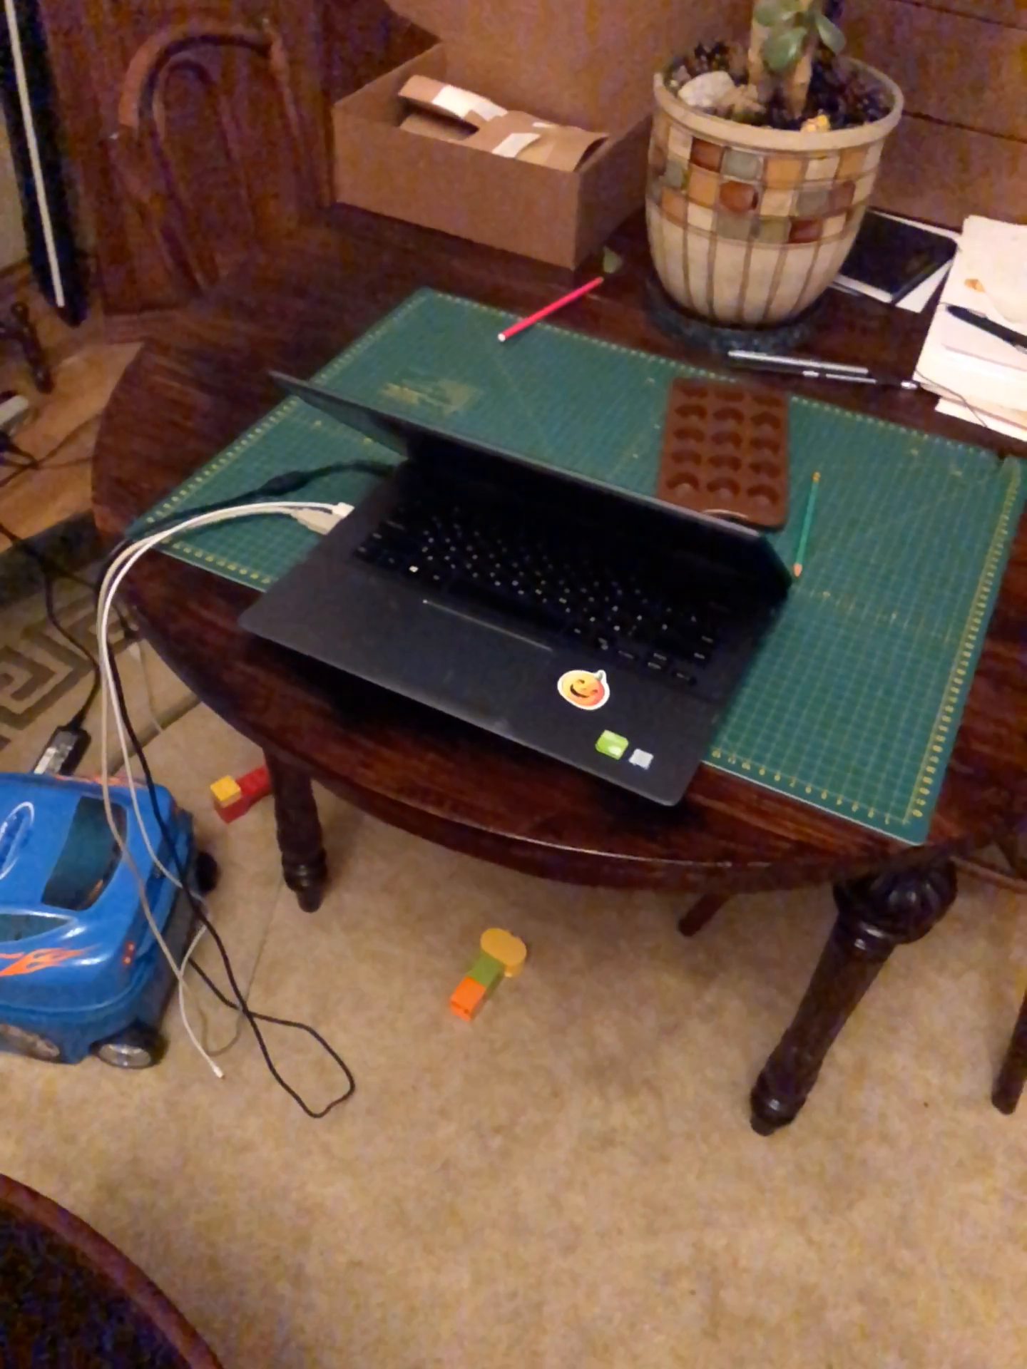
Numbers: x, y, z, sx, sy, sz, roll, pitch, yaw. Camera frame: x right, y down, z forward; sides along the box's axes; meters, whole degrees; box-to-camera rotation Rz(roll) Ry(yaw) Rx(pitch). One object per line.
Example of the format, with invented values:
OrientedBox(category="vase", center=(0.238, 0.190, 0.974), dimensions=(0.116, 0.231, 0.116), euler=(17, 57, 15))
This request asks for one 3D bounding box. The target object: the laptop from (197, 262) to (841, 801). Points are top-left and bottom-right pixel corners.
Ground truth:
OrientedBox(category="laptop", center=(0.007, -0.113, 0.736), dimensions=(0.317, 0.162, 0.225), euler=(22, 49, 17))
